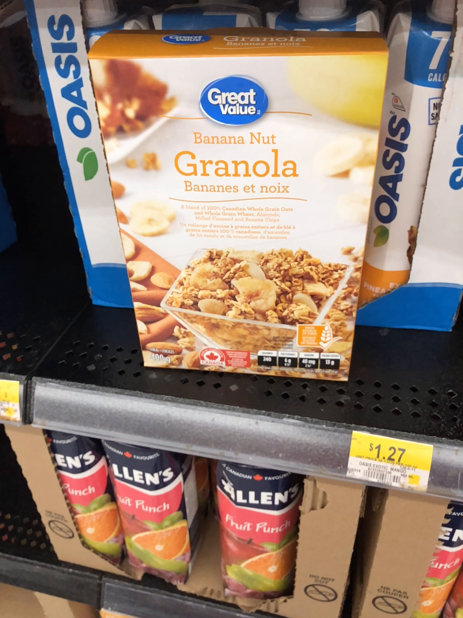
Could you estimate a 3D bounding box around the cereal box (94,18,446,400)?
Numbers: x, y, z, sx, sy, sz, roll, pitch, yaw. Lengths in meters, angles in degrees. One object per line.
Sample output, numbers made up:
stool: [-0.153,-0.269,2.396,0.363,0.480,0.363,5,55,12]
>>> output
cereal box: [0.022,-0.051,0.322,0.160,0.219,0.060,3,35,8]
